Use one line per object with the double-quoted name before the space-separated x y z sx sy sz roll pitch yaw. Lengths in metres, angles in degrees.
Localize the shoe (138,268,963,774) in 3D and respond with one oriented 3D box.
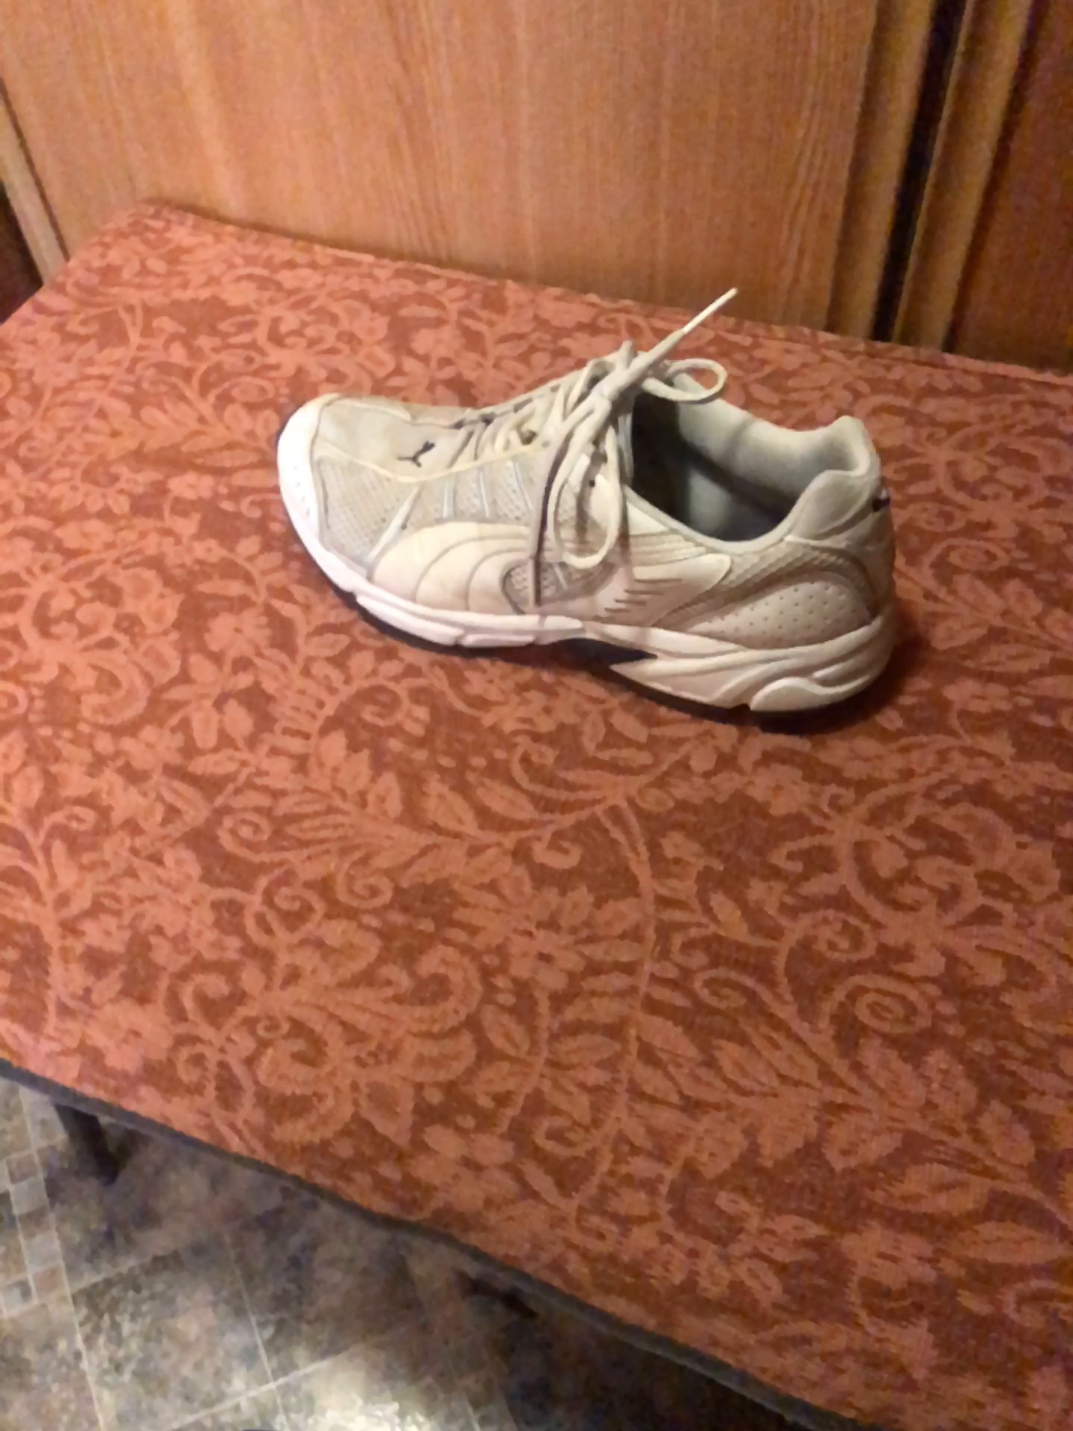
"shoe" 0.004 -0.085 0.481 0.290 0.100 0.100 16 54 16
